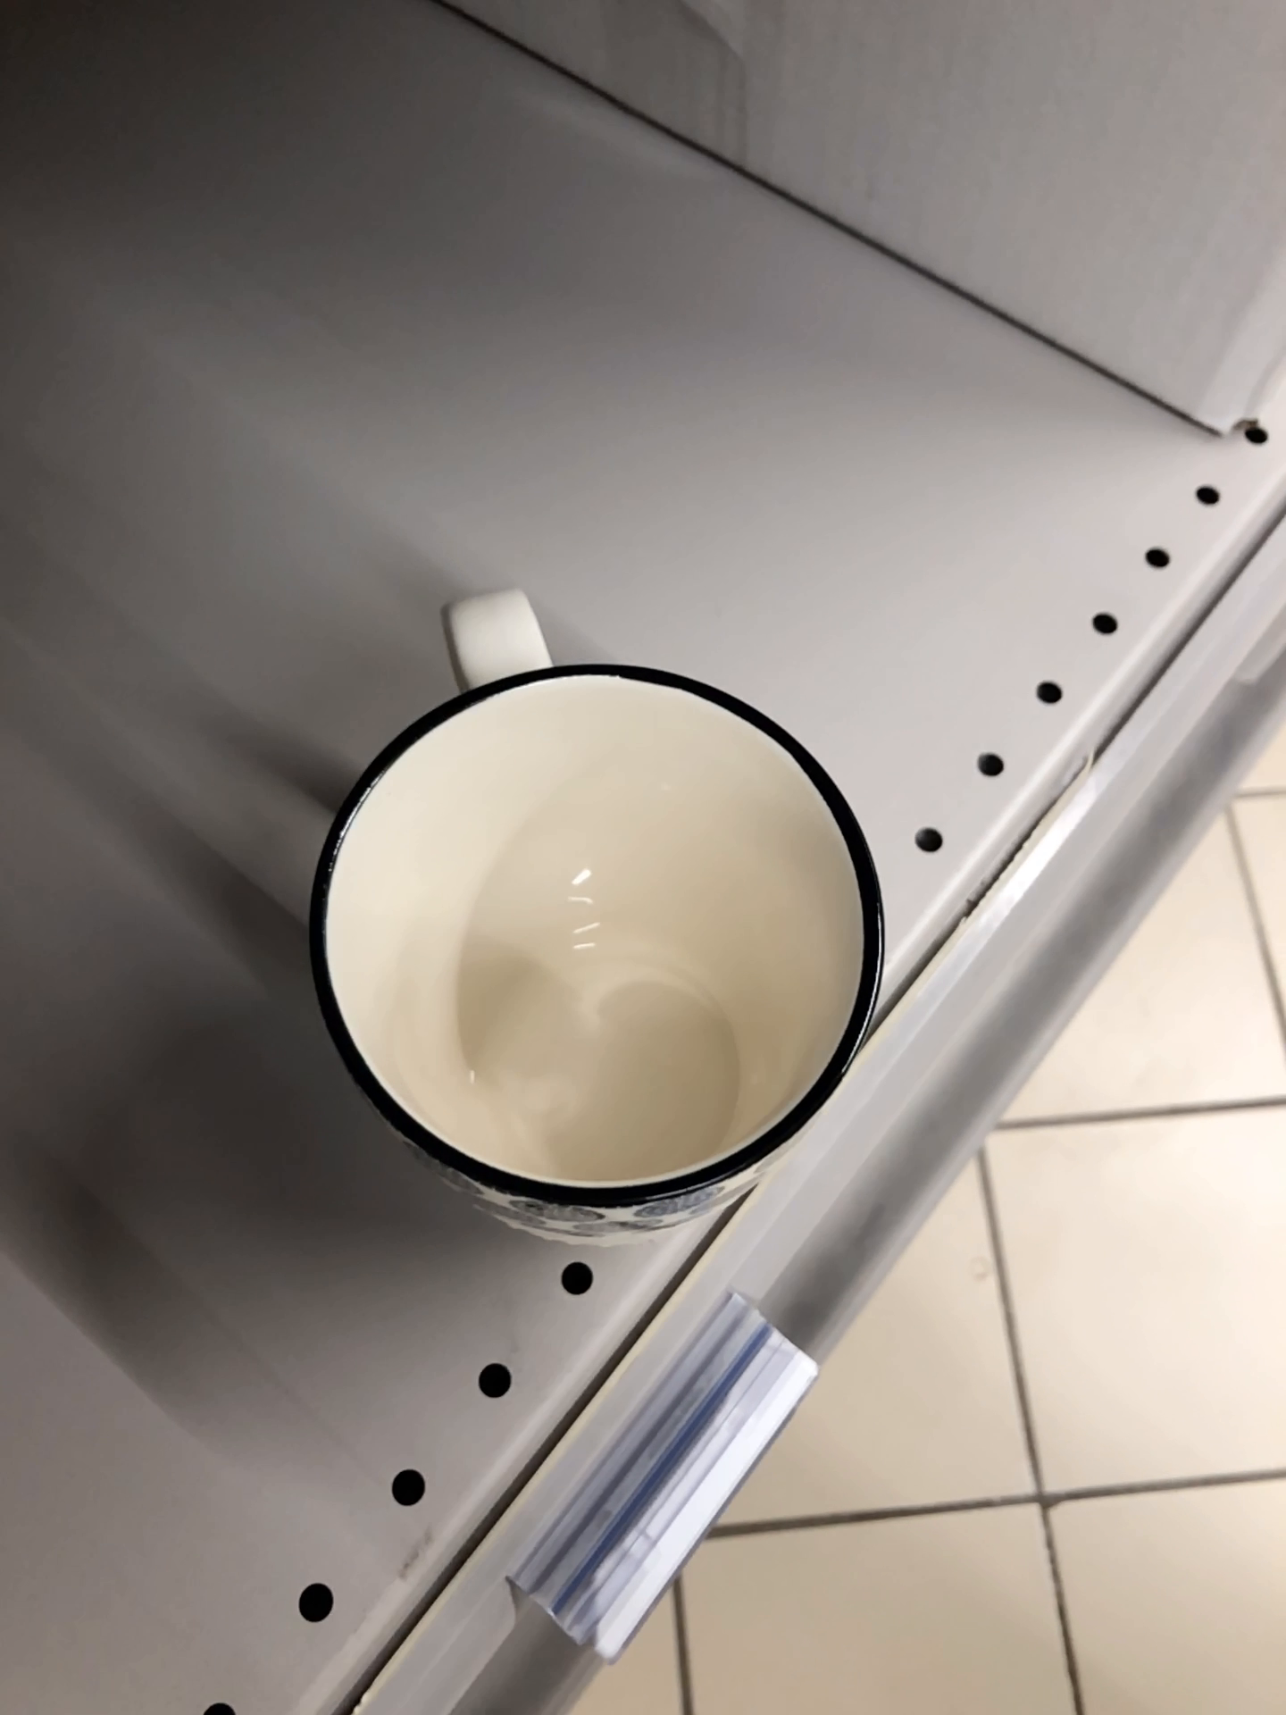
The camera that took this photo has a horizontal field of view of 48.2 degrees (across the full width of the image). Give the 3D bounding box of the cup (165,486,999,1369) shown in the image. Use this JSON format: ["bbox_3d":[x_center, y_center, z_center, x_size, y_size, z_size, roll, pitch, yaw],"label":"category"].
[{"bbox_3d":[-0.013,0.018,0.254,0.088,0.096,0.106,-21,70,-10],"label":"cup"}]
